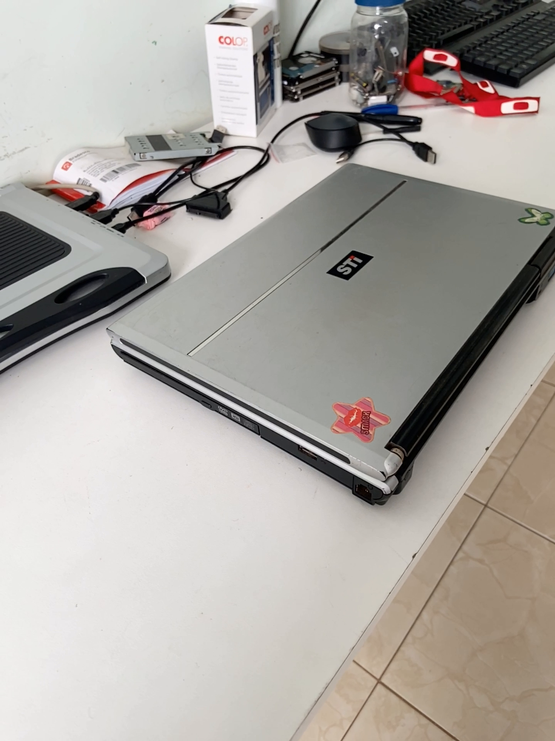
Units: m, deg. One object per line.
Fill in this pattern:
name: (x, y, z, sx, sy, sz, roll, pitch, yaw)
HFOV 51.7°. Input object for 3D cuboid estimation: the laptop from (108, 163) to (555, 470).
laptop: (0.069, -0.084, 0.472, 0.234, 0.004, 0.340, 25, 51, 29)
